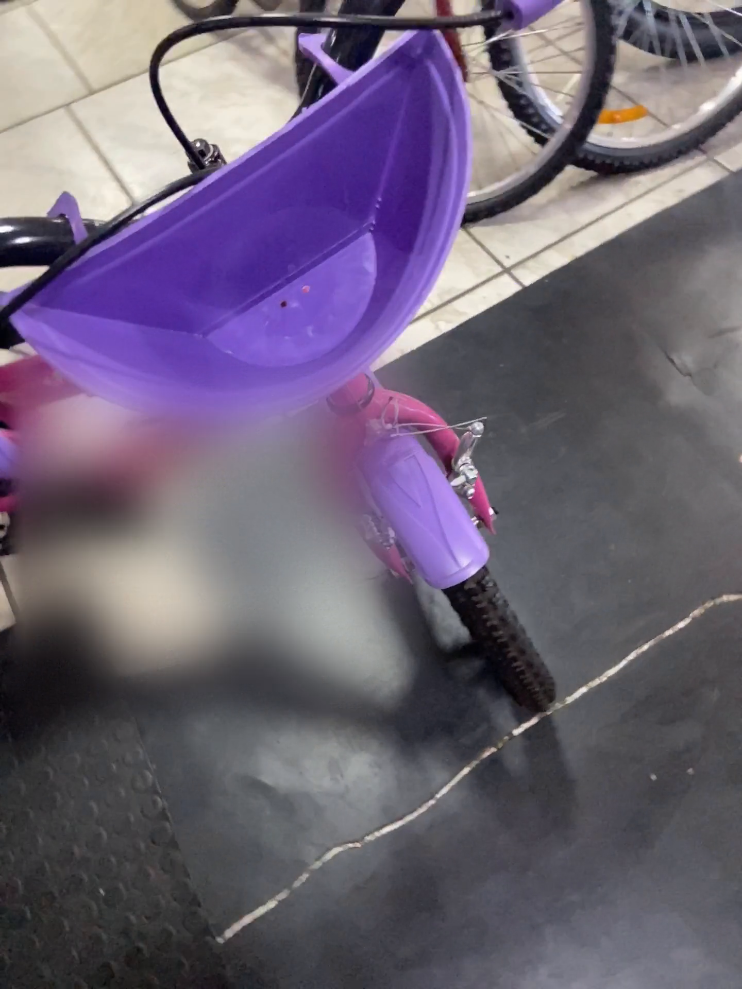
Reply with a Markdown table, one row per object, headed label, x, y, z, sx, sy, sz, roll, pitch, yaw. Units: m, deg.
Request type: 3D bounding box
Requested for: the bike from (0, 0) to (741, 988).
| label | x | y | z | sx | sy | sz | roll | pitch | yaw |
| --- | --- | --- | --- | --- | --- | --- | --- | --- | --- |
| bike | -0.292 | 0.021 | 0.637 | 0.921 | 0.703 | 0.548 | 14 | 62 | 10 |
